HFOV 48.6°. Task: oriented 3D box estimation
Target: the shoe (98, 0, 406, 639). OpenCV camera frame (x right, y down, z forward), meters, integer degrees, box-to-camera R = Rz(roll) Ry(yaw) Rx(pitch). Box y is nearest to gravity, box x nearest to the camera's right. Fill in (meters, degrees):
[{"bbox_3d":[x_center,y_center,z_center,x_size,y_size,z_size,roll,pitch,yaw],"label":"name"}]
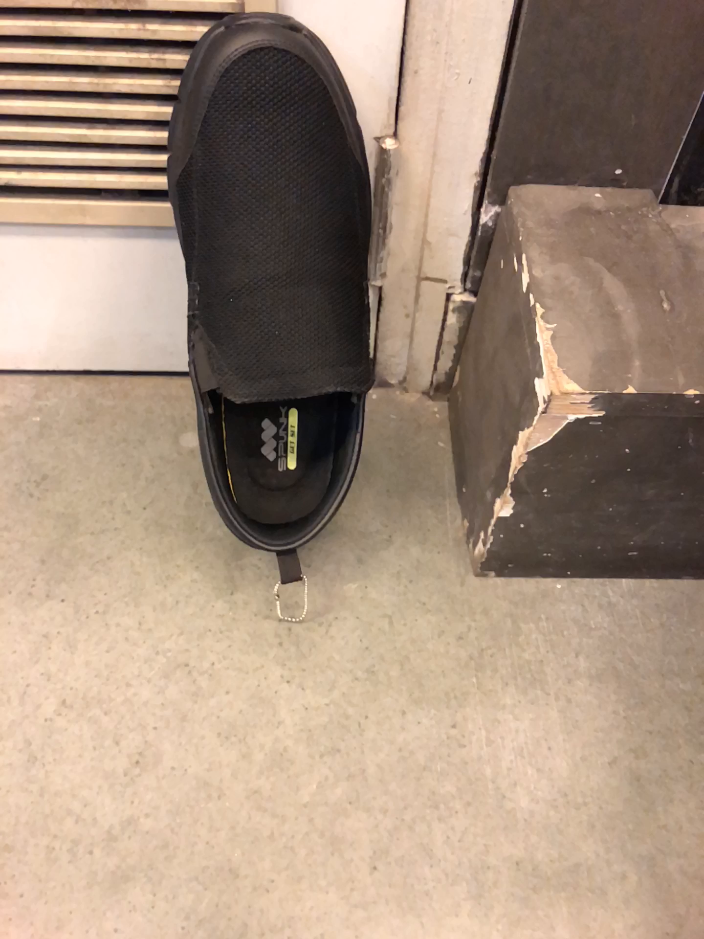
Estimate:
[{"bbox_3d":[-0.040,-0.077,0.405,0.111,0.290,0.128,-5,21,-6],"label":"shoe"}]
